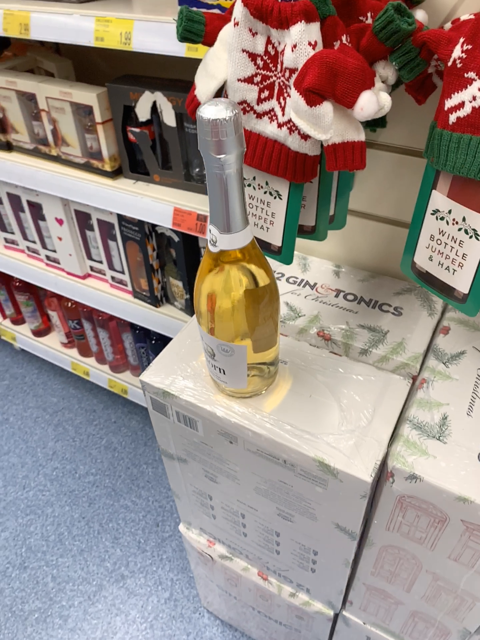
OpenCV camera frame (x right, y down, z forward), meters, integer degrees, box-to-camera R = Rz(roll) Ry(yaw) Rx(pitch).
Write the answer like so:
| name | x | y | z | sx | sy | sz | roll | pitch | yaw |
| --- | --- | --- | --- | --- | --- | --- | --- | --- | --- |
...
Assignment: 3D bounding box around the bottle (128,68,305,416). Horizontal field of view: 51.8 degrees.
| name | x | y | z | sx | sy | sz | roll | pitch | yaw |
| --- | --- | --- | --- | --- | --- | --- | --- | --- | --- |
| bottle | -0.014 | -0.057 | 0.468 | 0.095 | 0.298 | 0.095 | -1 | 41 | 1 |
